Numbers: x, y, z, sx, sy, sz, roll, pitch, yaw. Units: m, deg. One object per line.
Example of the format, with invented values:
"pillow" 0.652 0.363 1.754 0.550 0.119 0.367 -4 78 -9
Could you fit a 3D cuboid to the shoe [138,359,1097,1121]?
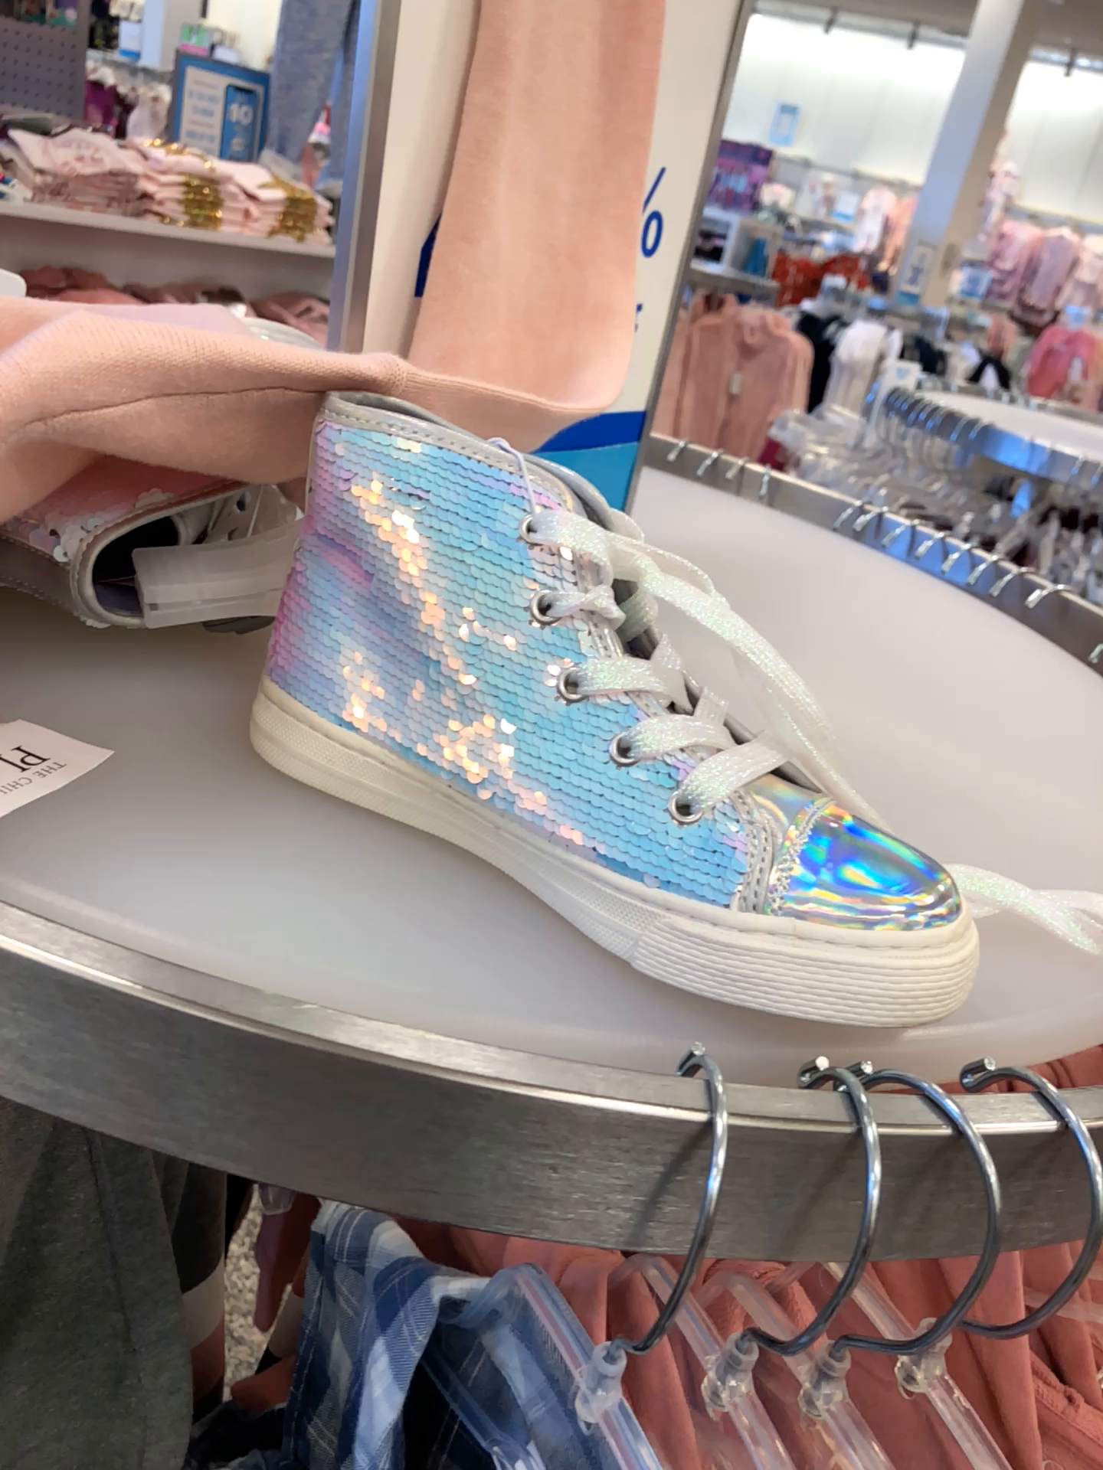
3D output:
"shoe" 0.009 -0.016 0.318 0.211 0.105 0.090 24 25 21
